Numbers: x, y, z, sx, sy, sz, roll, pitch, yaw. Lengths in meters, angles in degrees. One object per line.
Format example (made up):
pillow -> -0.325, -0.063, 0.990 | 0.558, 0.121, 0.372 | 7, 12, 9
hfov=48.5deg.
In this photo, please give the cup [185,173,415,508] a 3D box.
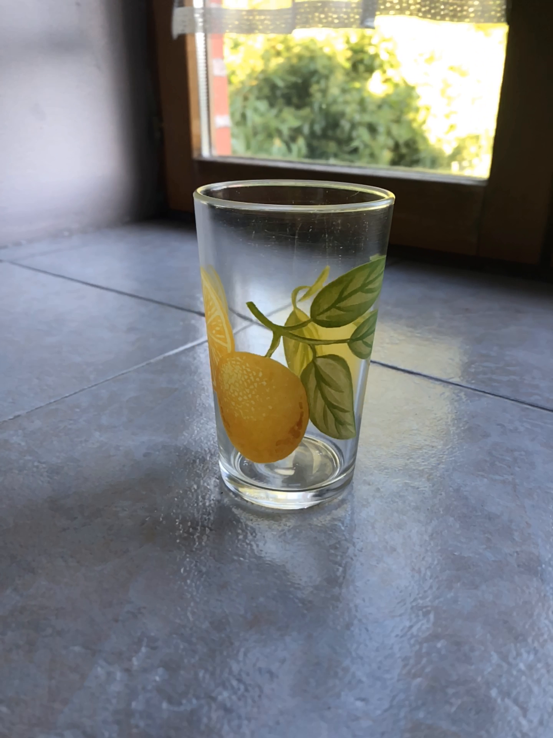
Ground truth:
cup -> 0.008, -0.013, 0.240 | 0.070, 0.112, 0.070 | 0, 24, 0
